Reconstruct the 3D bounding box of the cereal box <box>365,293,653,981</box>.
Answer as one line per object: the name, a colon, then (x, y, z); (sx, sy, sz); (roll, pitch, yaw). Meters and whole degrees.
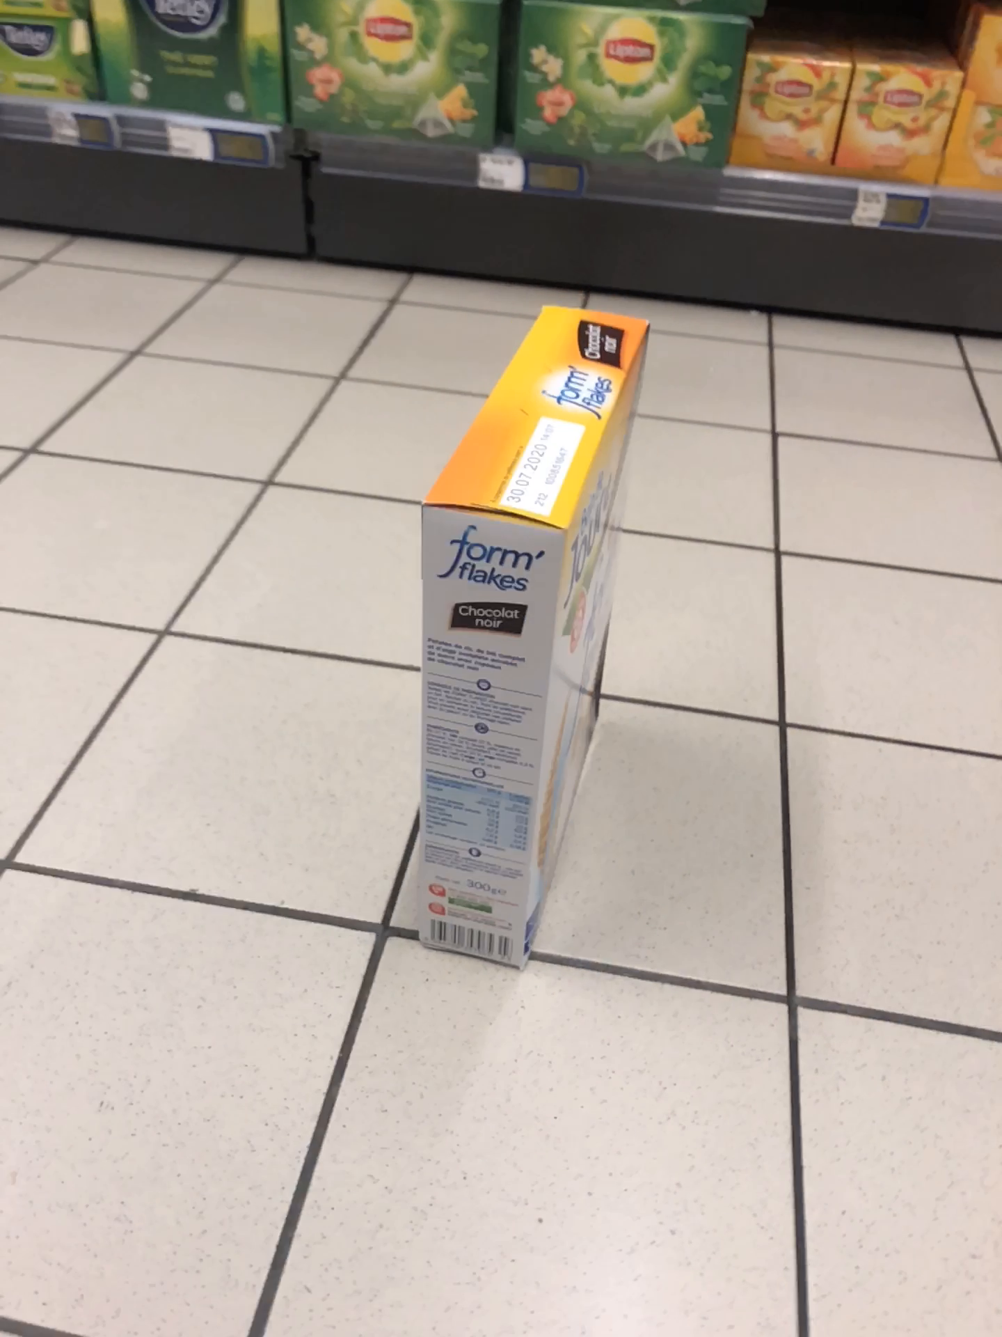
cereal box: (0.007, -0.017, 0.525); (0.070, 0.248, 0.201); (11, 39, 10)
